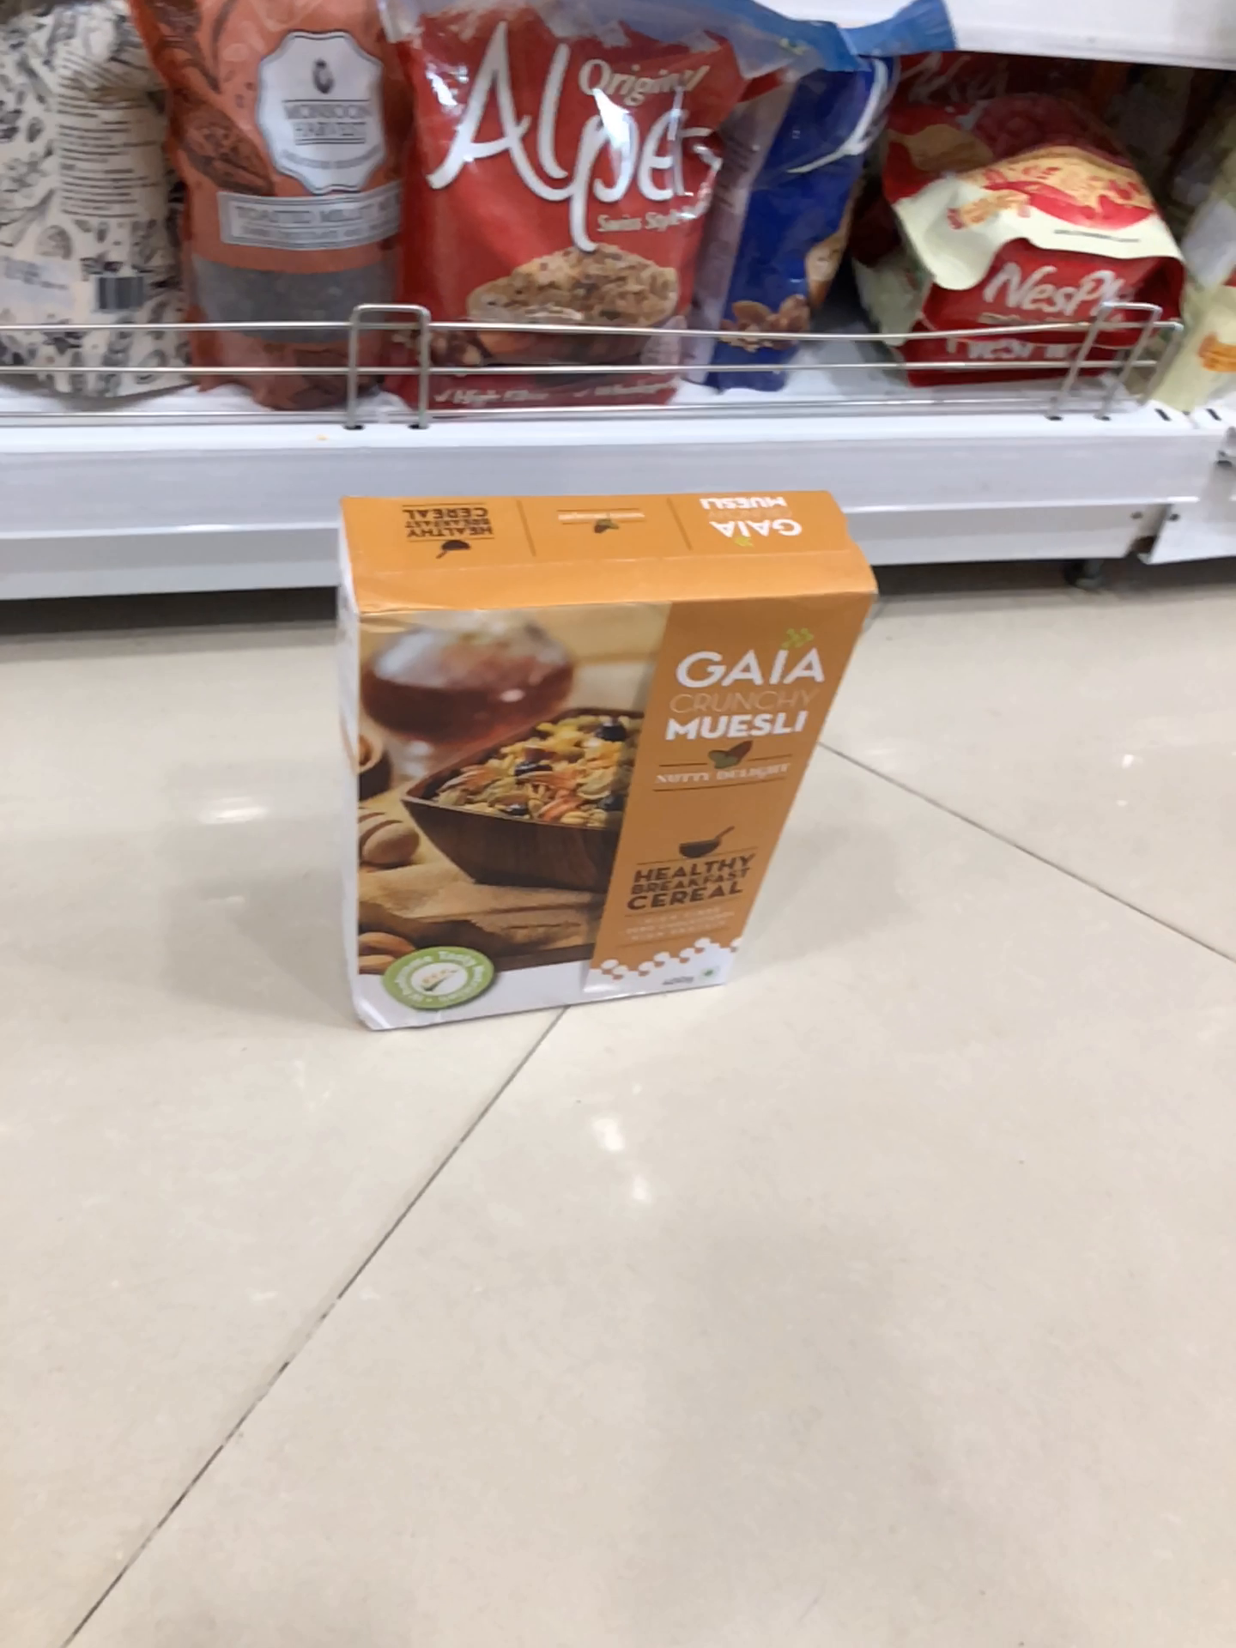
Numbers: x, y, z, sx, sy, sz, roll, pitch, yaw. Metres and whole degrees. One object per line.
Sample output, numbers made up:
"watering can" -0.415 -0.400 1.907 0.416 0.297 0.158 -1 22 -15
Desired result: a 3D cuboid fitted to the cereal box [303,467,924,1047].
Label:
"cereal box" -0.019 -0.015 0.526 0.190 0.248 0.060 -5 52 -15
